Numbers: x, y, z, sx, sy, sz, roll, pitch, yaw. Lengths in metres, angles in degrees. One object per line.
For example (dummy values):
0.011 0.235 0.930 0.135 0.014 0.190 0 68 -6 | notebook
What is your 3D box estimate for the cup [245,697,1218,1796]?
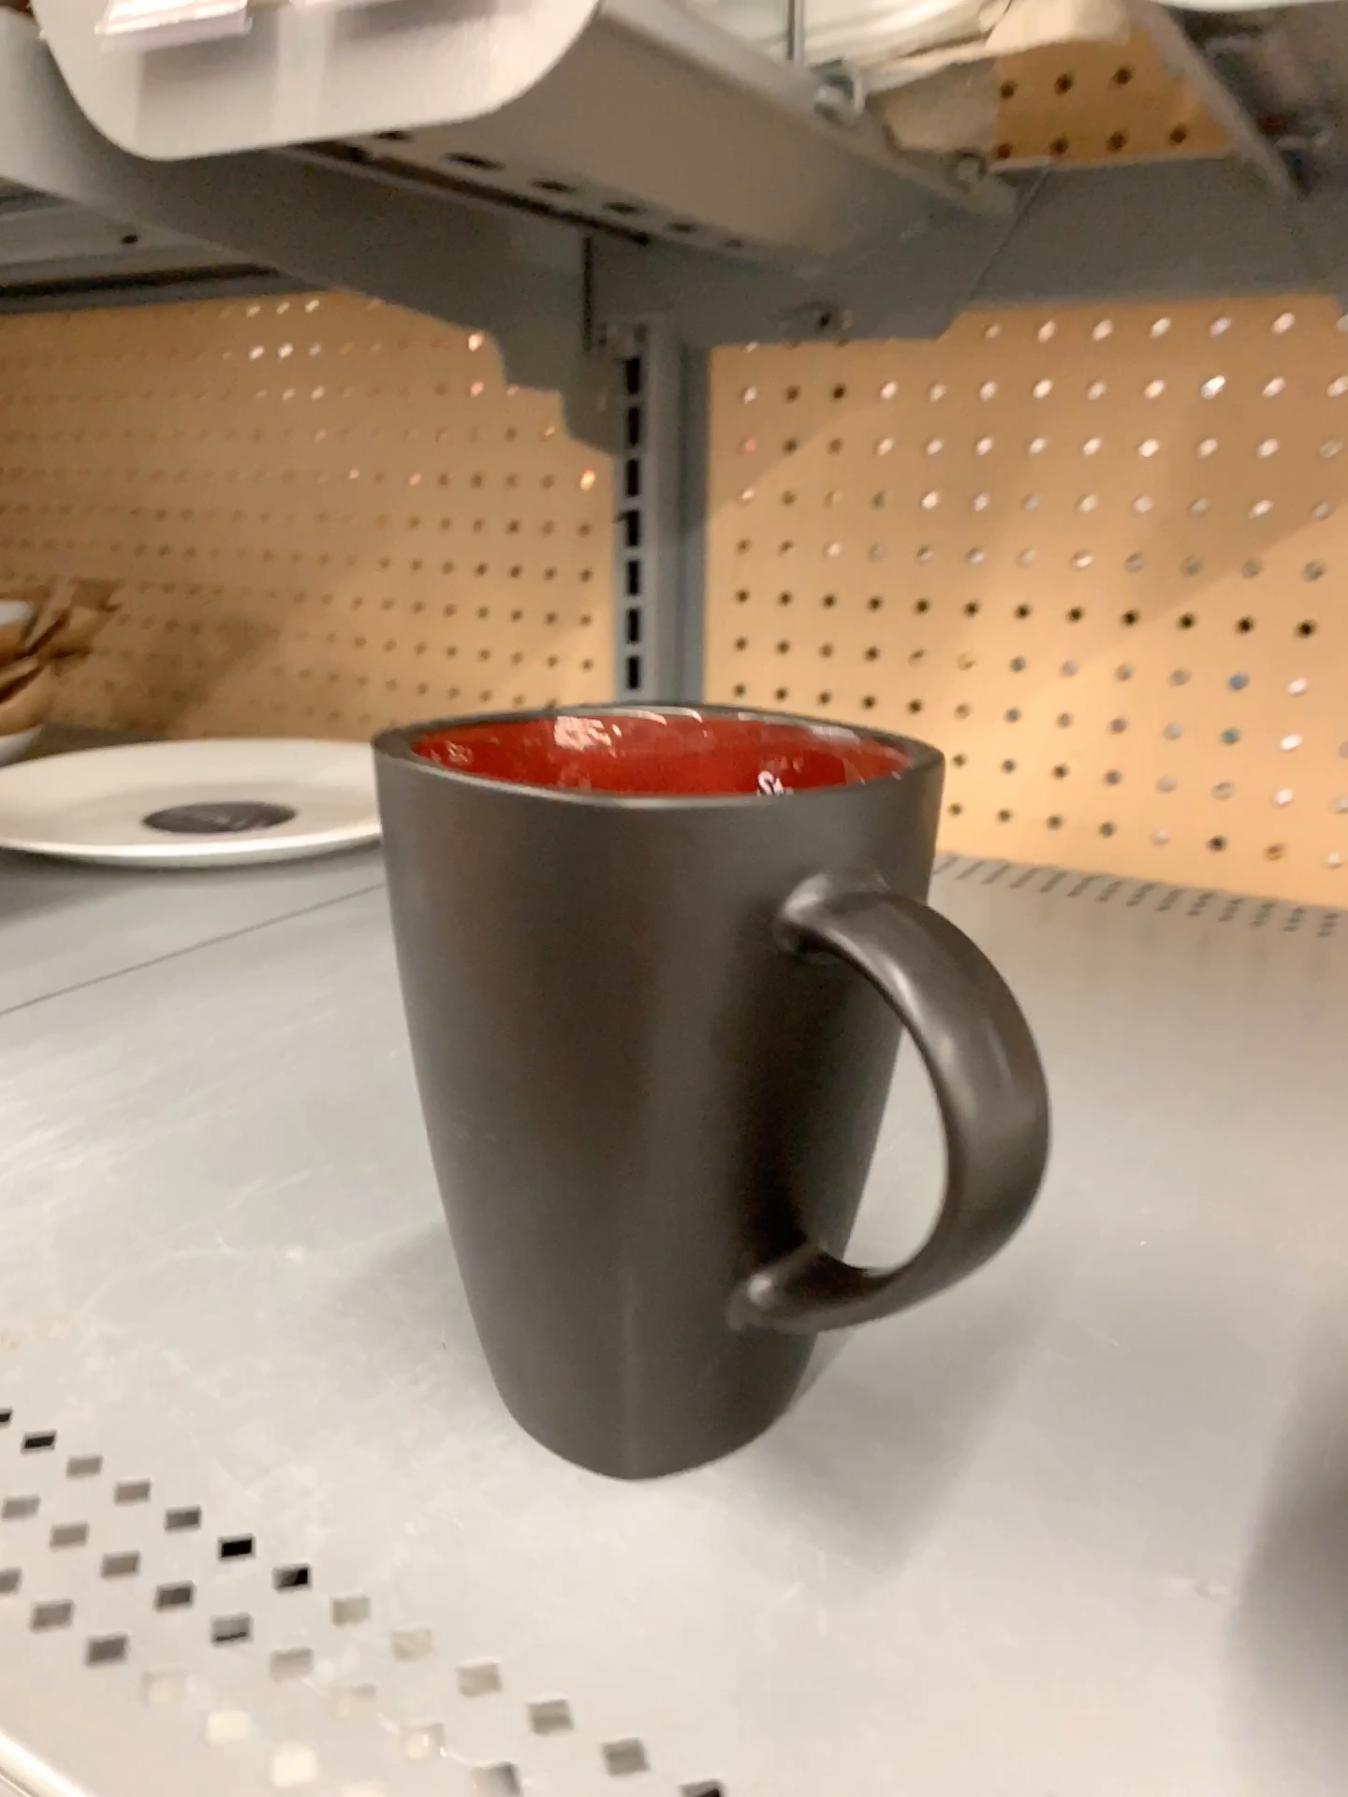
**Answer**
0.005 0.041 0.243 0.130 0.130 0.090 15 21 41 | cup
